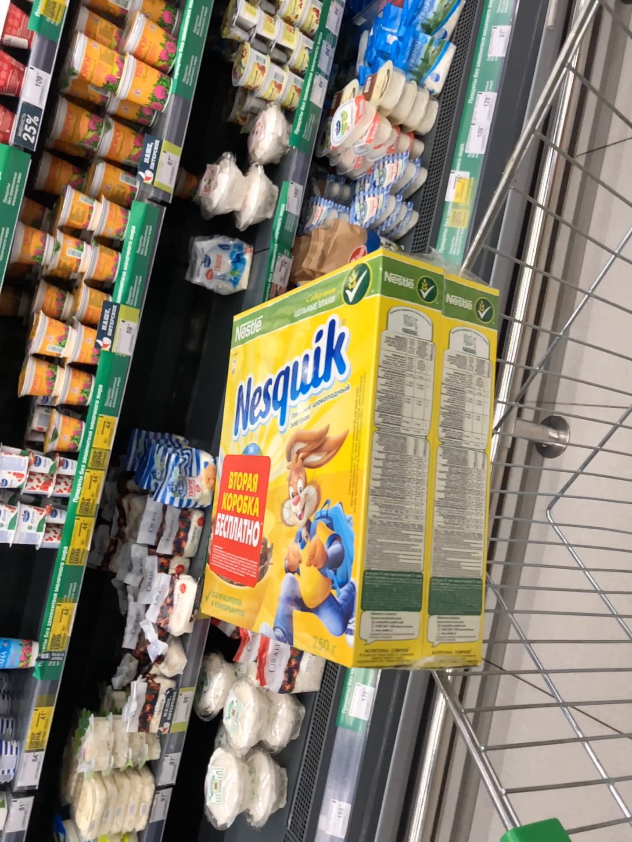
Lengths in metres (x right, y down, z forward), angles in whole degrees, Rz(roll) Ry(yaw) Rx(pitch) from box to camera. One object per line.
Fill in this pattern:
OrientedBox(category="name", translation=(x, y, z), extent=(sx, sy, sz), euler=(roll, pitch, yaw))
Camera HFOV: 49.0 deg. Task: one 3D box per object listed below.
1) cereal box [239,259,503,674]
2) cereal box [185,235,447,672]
OrientedBox(category="cereal box", translation=(0.029, 0.033, 0.498), extent=(0.211, 0.050, 0.240), euler=(-8, 73, 56))
OrientedBox(category="cereal box", translation=(-0.010, 0.024, 0.478), extent=(0.211, 0.050, 0.240), euler=(-8, 73, 56))
